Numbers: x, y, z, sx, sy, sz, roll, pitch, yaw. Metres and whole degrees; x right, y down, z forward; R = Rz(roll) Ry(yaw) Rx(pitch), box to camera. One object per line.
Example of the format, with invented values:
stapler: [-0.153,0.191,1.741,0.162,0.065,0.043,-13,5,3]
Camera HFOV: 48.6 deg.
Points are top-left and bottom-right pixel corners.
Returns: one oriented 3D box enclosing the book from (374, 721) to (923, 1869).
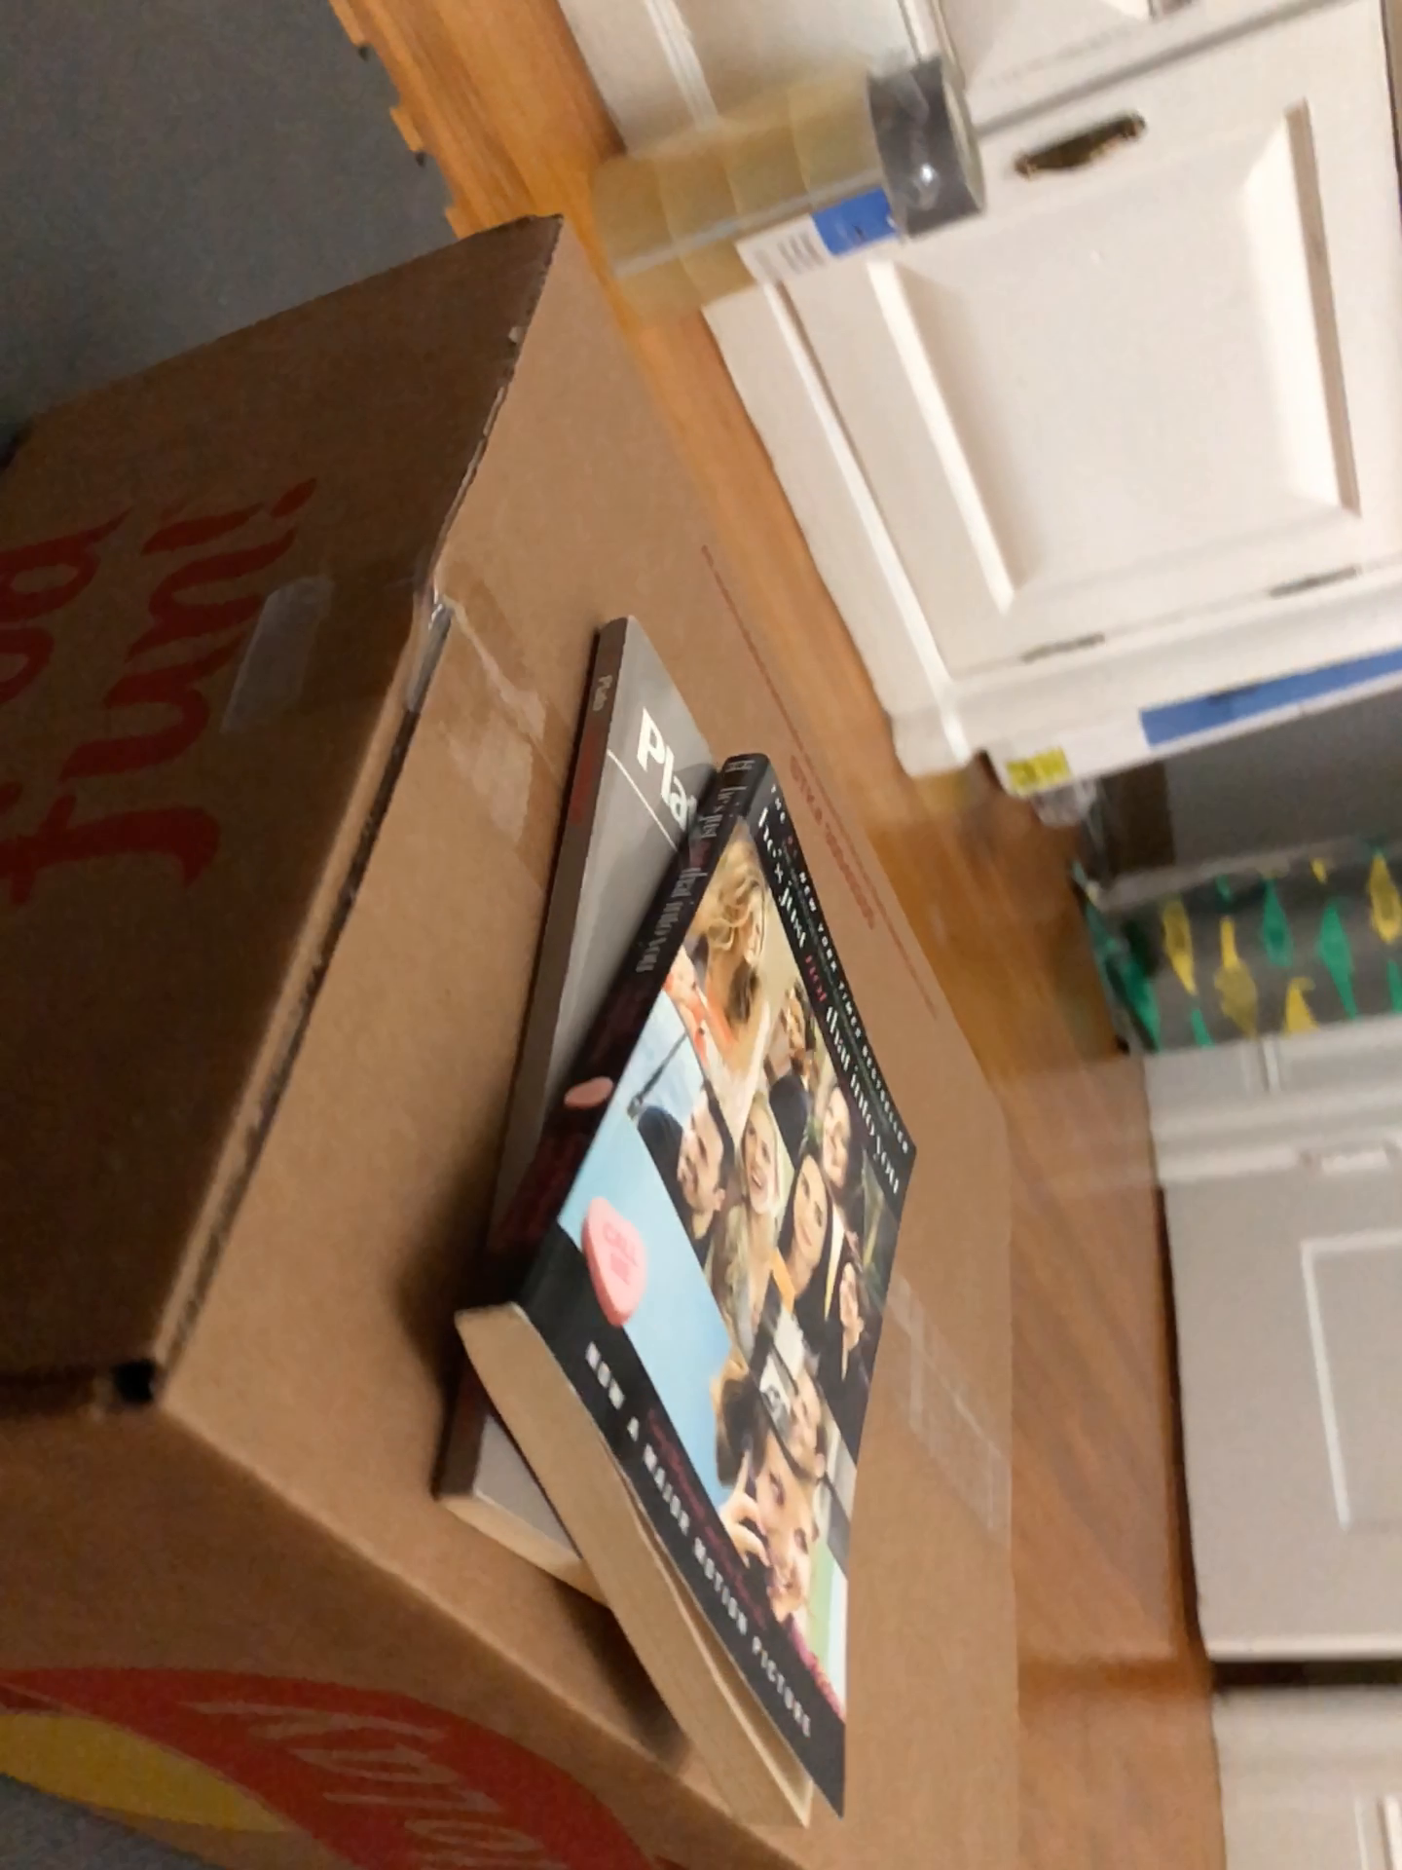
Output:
book: [0.011,0.069,0.345,0.231,0.010,0.150,-67,140,-54]
